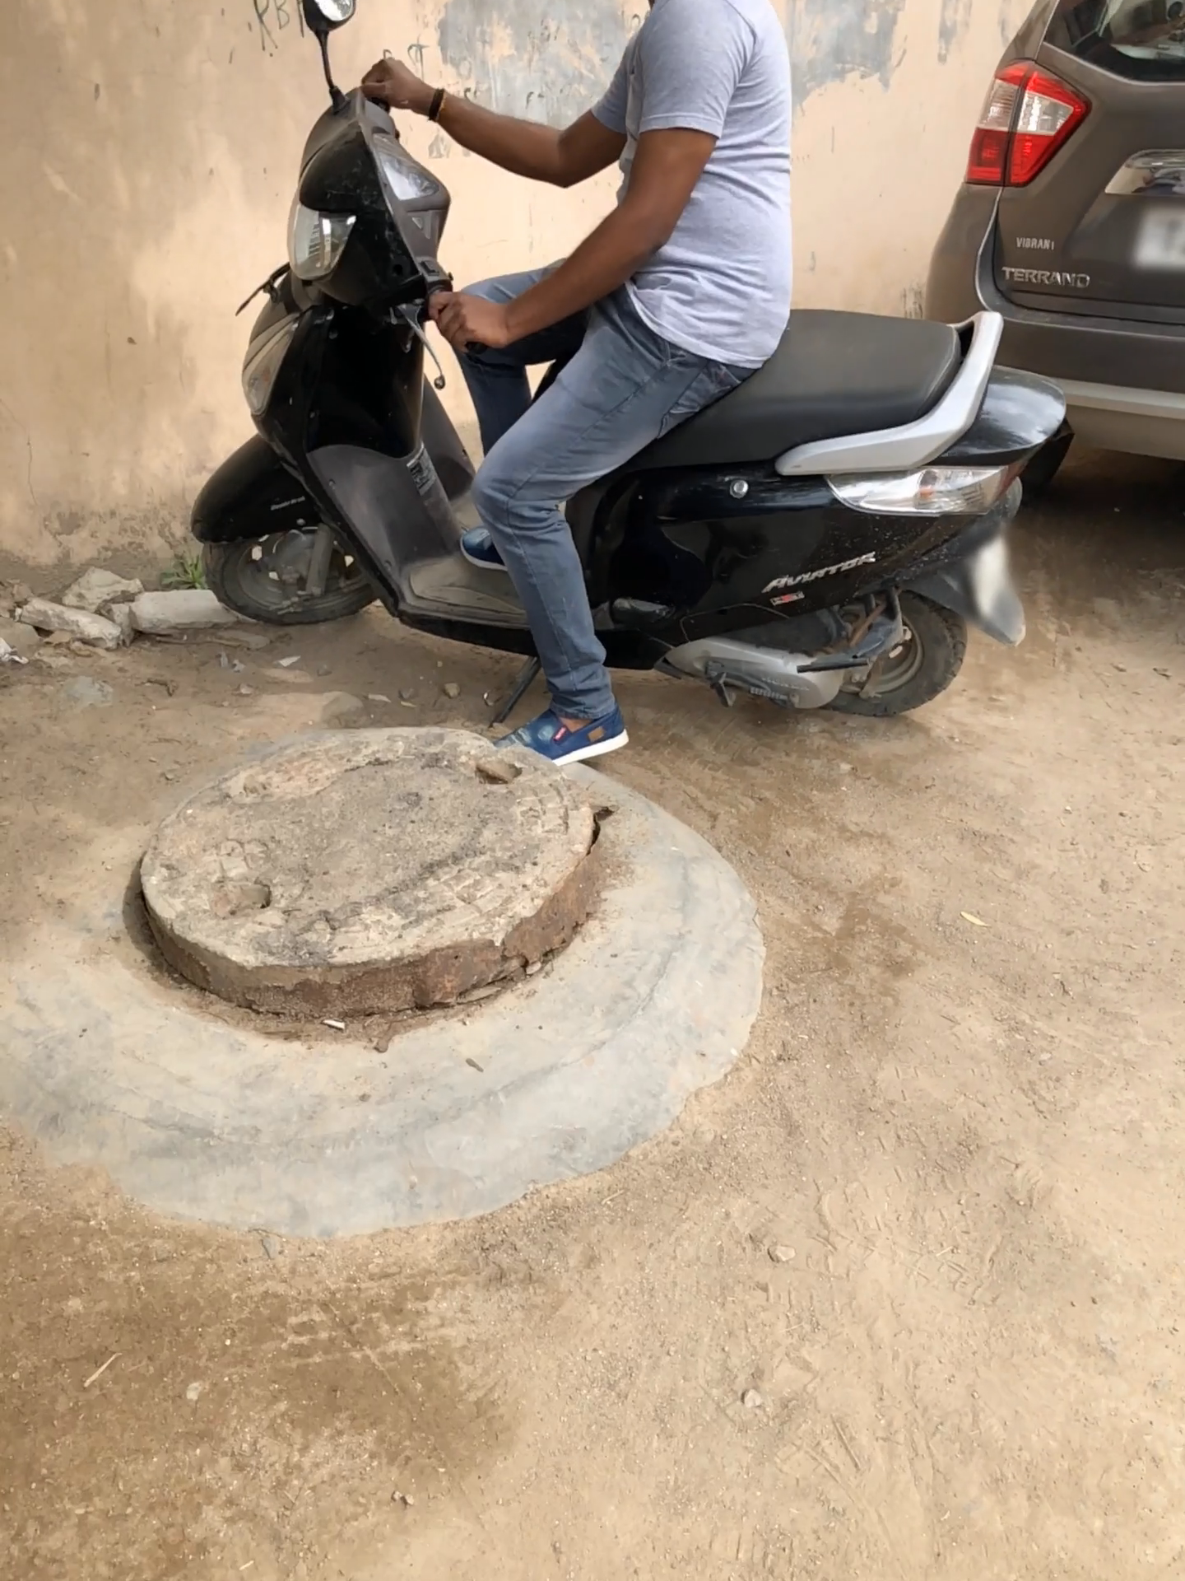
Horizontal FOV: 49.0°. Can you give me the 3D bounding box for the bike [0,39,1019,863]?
[{"bbox_3d":[-0.132,-0.673,2.411,1.649,1.228,0.656,6,30,13],"label":"bike"}]
